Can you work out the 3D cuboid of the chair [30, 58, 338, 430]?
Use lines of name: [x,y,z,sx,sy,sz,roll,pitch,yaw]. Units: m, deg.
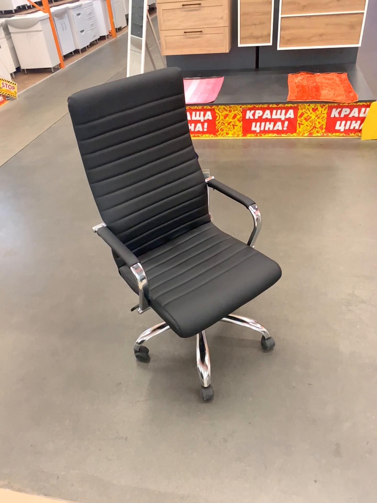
chair: [-0.002,-0.051,1.473,0.651,1.075,0.683,-28,42,-26]
